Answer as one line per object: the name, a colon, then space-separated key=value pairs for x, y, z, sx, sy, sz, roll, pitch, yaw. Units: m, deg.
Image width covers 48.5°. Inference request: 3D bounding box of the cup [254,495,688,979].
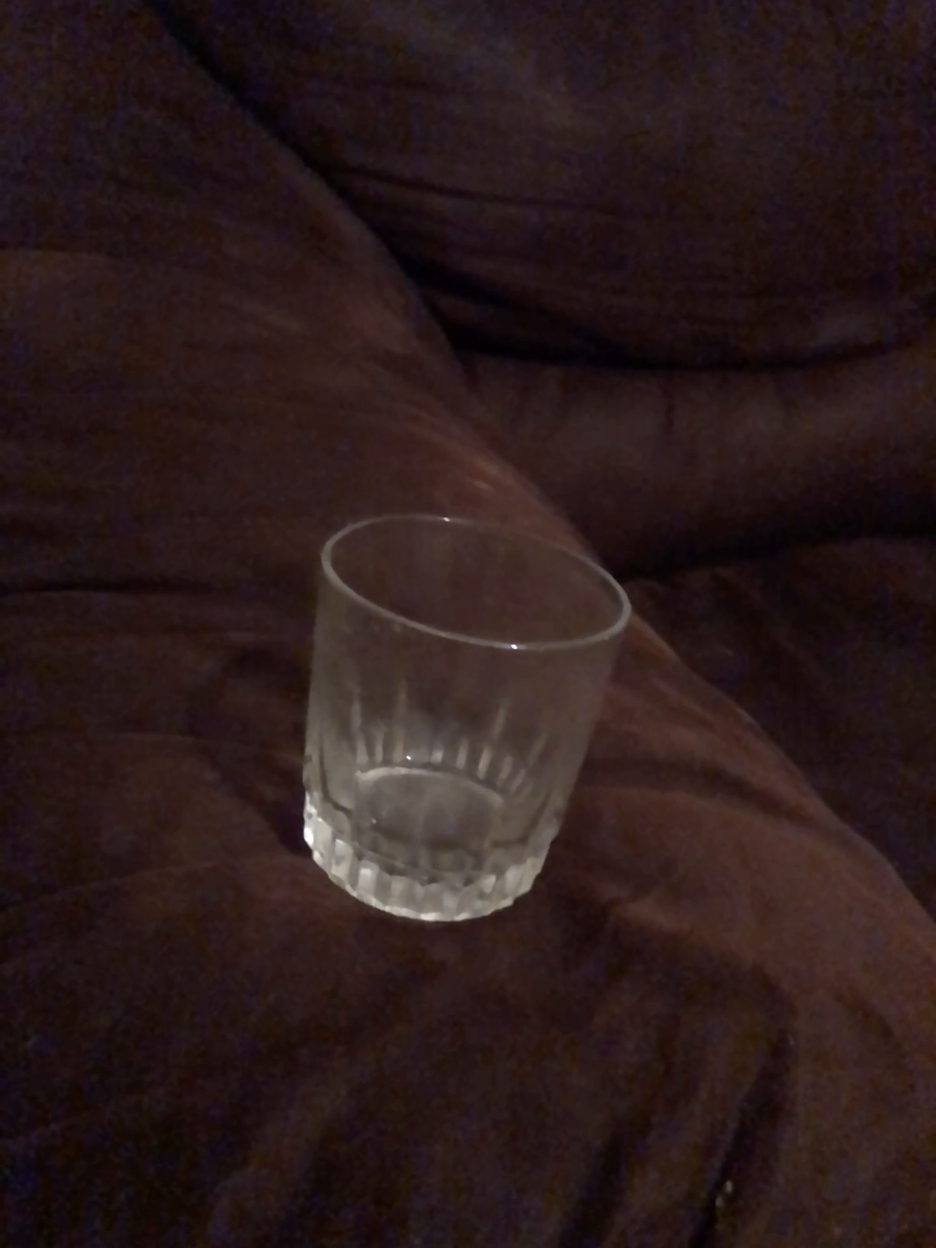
cup: x=-0.003 y=0.025 z=0.276 sx=0.086 sy=0.086 sz=0.087 roll=8 pitch=22 yaw=-4
